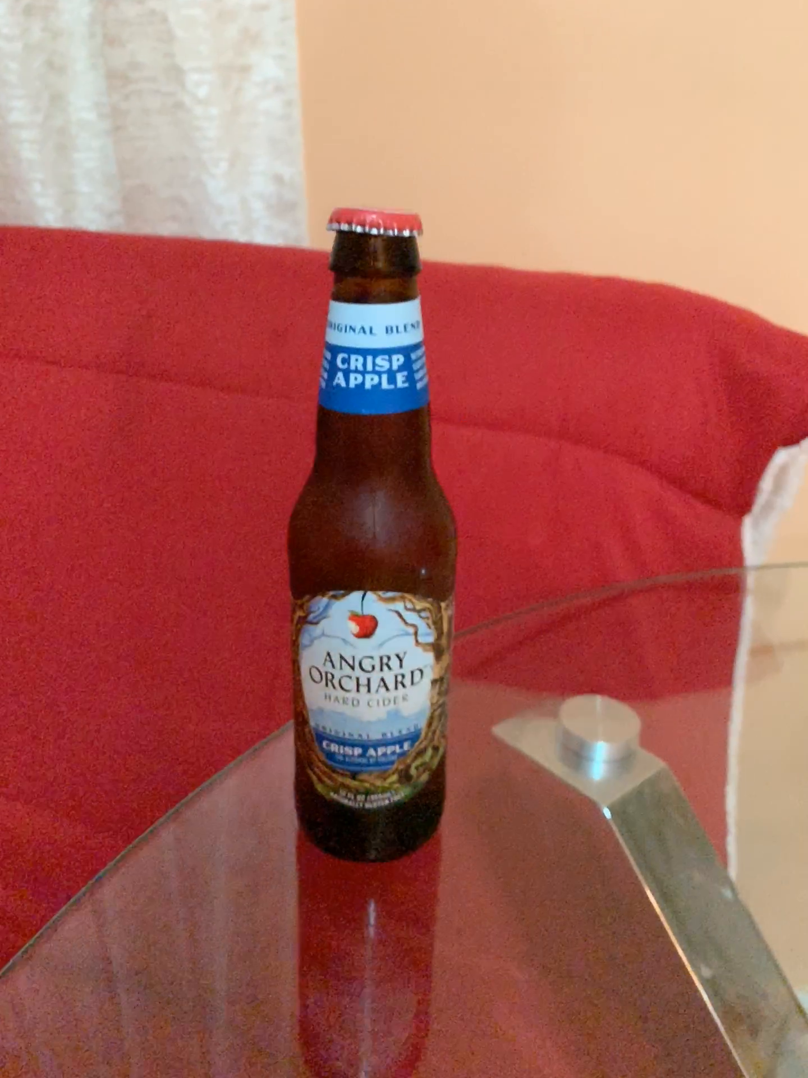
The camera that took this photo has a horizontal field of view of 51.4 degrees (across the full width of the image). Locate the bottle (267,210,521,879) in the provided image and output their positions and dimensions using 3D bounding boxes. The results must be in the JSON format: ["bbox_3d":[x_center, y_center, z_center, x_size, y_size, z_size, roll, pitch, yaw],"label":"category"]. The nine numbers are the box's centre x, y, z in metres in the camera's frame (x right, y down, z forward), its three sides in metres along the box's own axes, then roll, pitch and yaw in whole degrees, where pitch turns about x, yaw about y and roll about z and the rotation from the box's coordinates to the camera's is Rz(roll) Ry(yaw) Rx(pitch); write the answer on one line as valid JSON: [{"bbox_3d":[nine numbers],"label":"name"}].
[{"bbox_3d":[-0.008,0.006,0.307,0.070,0.231,0.070,2,21,-1],"label":"bottle"}]
